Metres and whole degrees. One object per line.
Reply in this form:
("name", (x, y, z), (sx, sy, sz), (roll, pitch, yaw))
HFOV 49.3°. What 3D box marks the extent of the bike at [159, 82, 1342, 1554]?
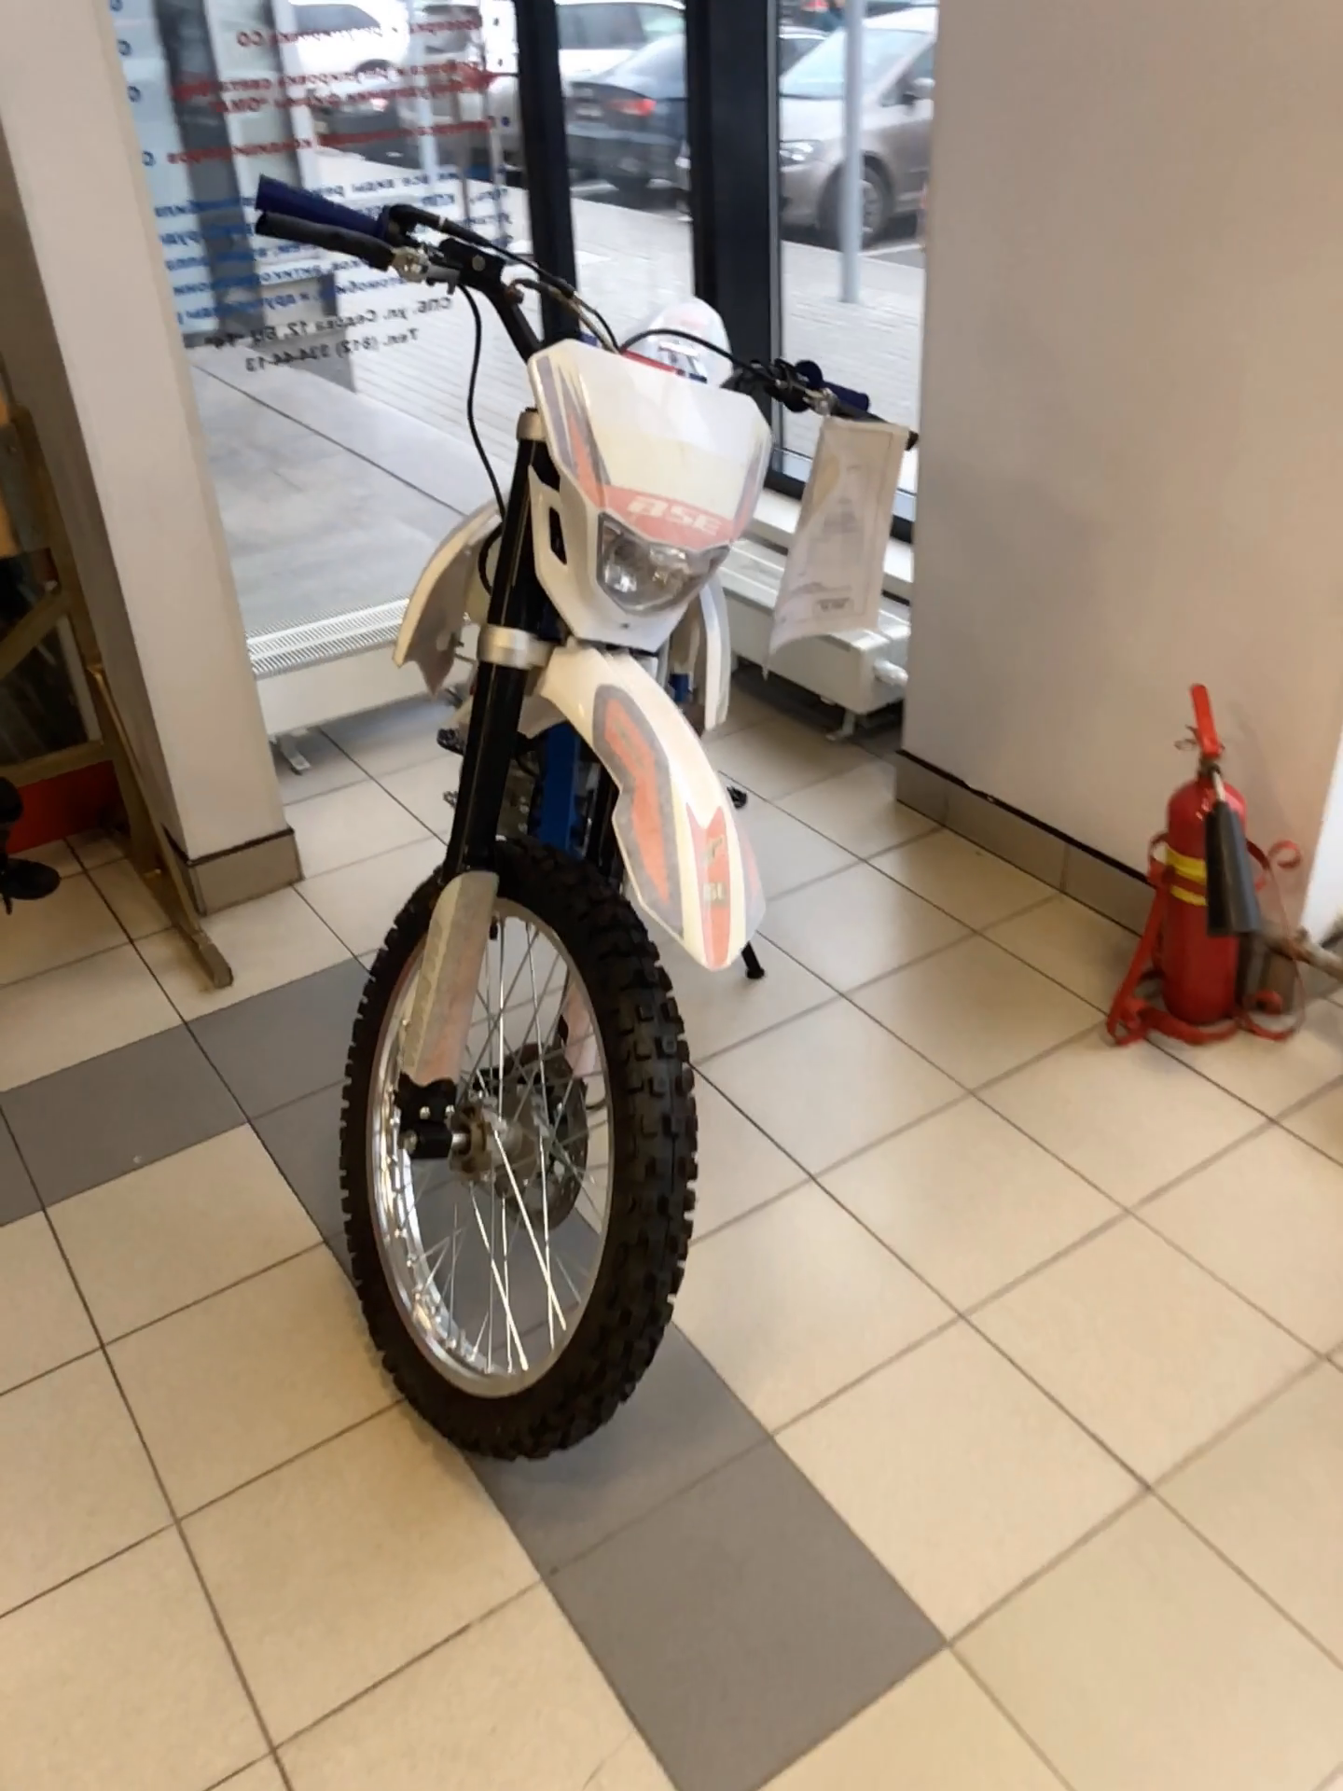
("bike", (0.075, -0.333, 2.059), (0.842, 1.220, 1.855), (-2, 33, 1))
